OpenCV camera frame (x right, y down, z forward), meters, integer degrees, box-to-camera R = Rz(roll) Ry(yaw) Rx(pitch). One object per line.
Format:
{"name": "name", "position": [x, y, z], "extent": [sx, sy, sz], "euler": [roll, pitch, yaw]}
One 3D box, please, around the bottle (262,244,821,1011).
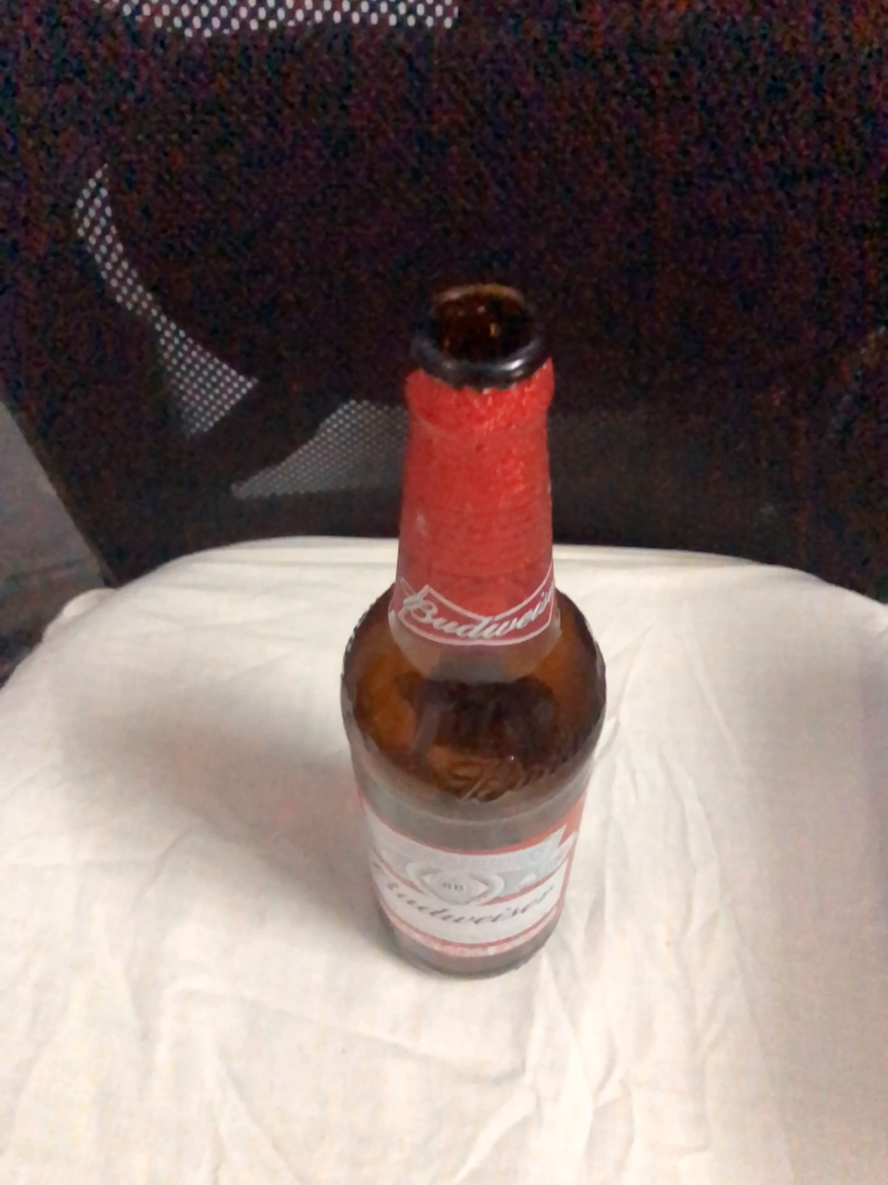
{"name": "bottle", "position": [0.012, 0.044, 0.271], "extent": [0.080, 0.269, 0.070], "euler": [2, 54, 0]}
